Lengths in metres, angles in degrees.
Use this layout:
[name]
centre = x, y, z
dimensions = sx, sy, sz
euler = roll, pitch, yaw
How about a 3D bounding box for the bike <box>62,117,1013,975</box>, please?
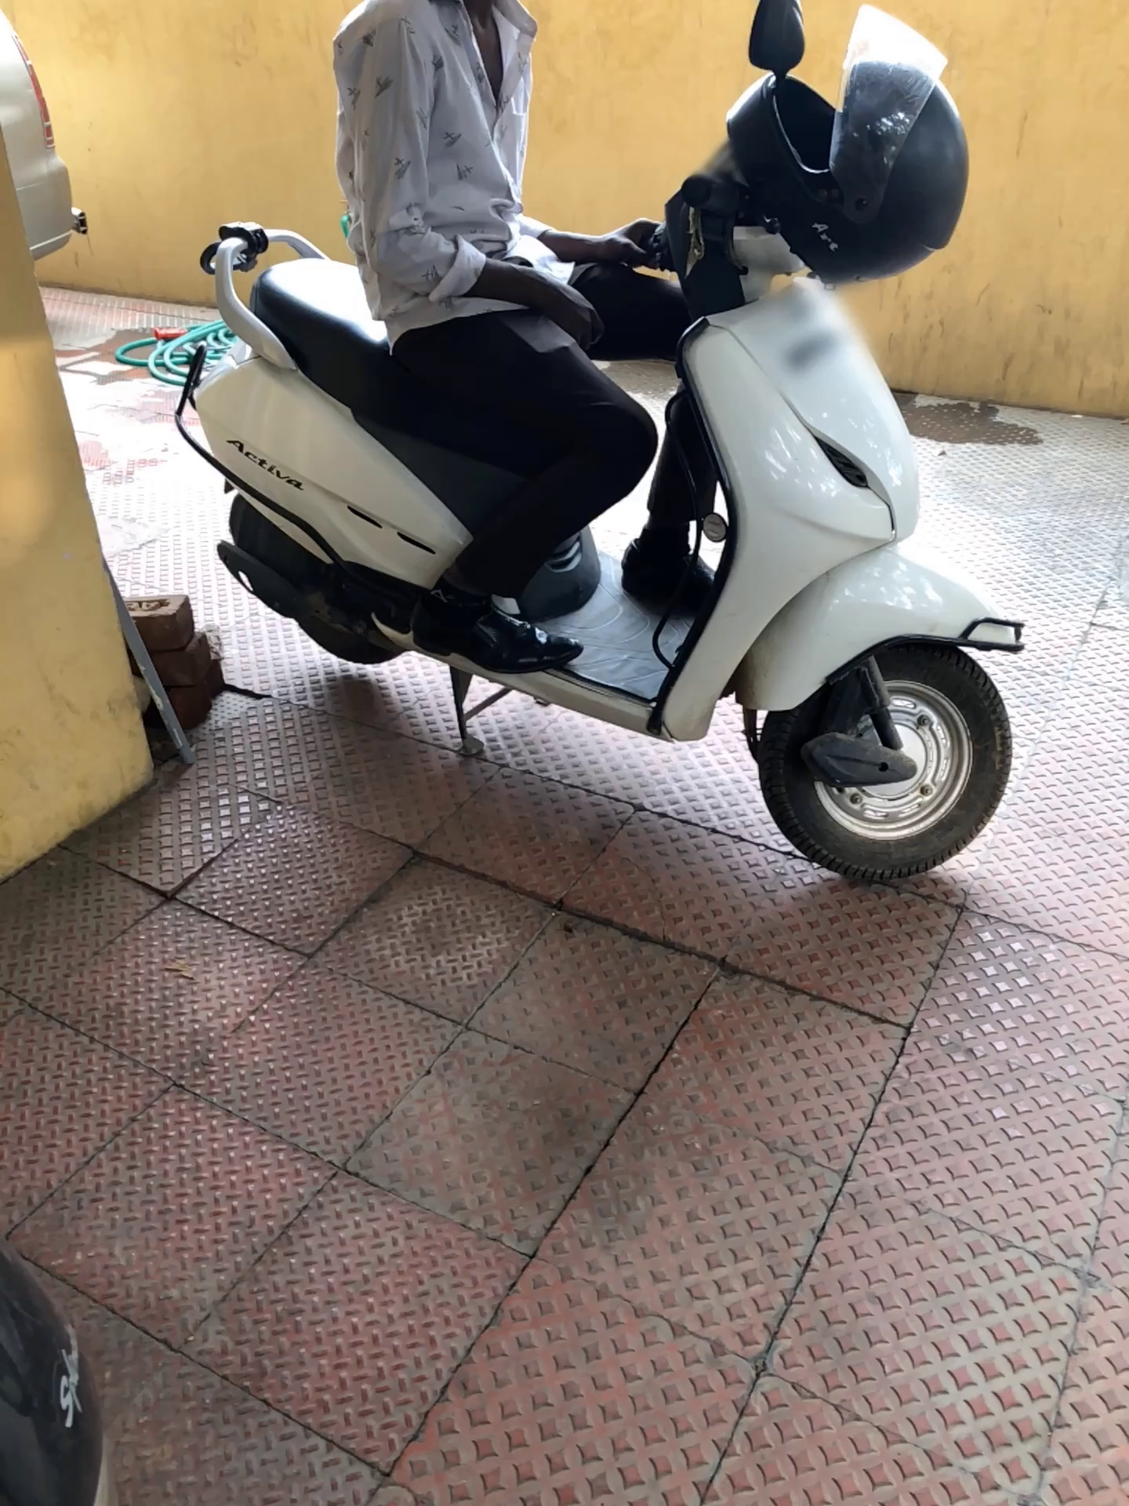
[bike]
centre = -0.047, -0.462, 2.284
dimensions = 1.388, 1.108, 0.661
euler = 18, 36, 25
